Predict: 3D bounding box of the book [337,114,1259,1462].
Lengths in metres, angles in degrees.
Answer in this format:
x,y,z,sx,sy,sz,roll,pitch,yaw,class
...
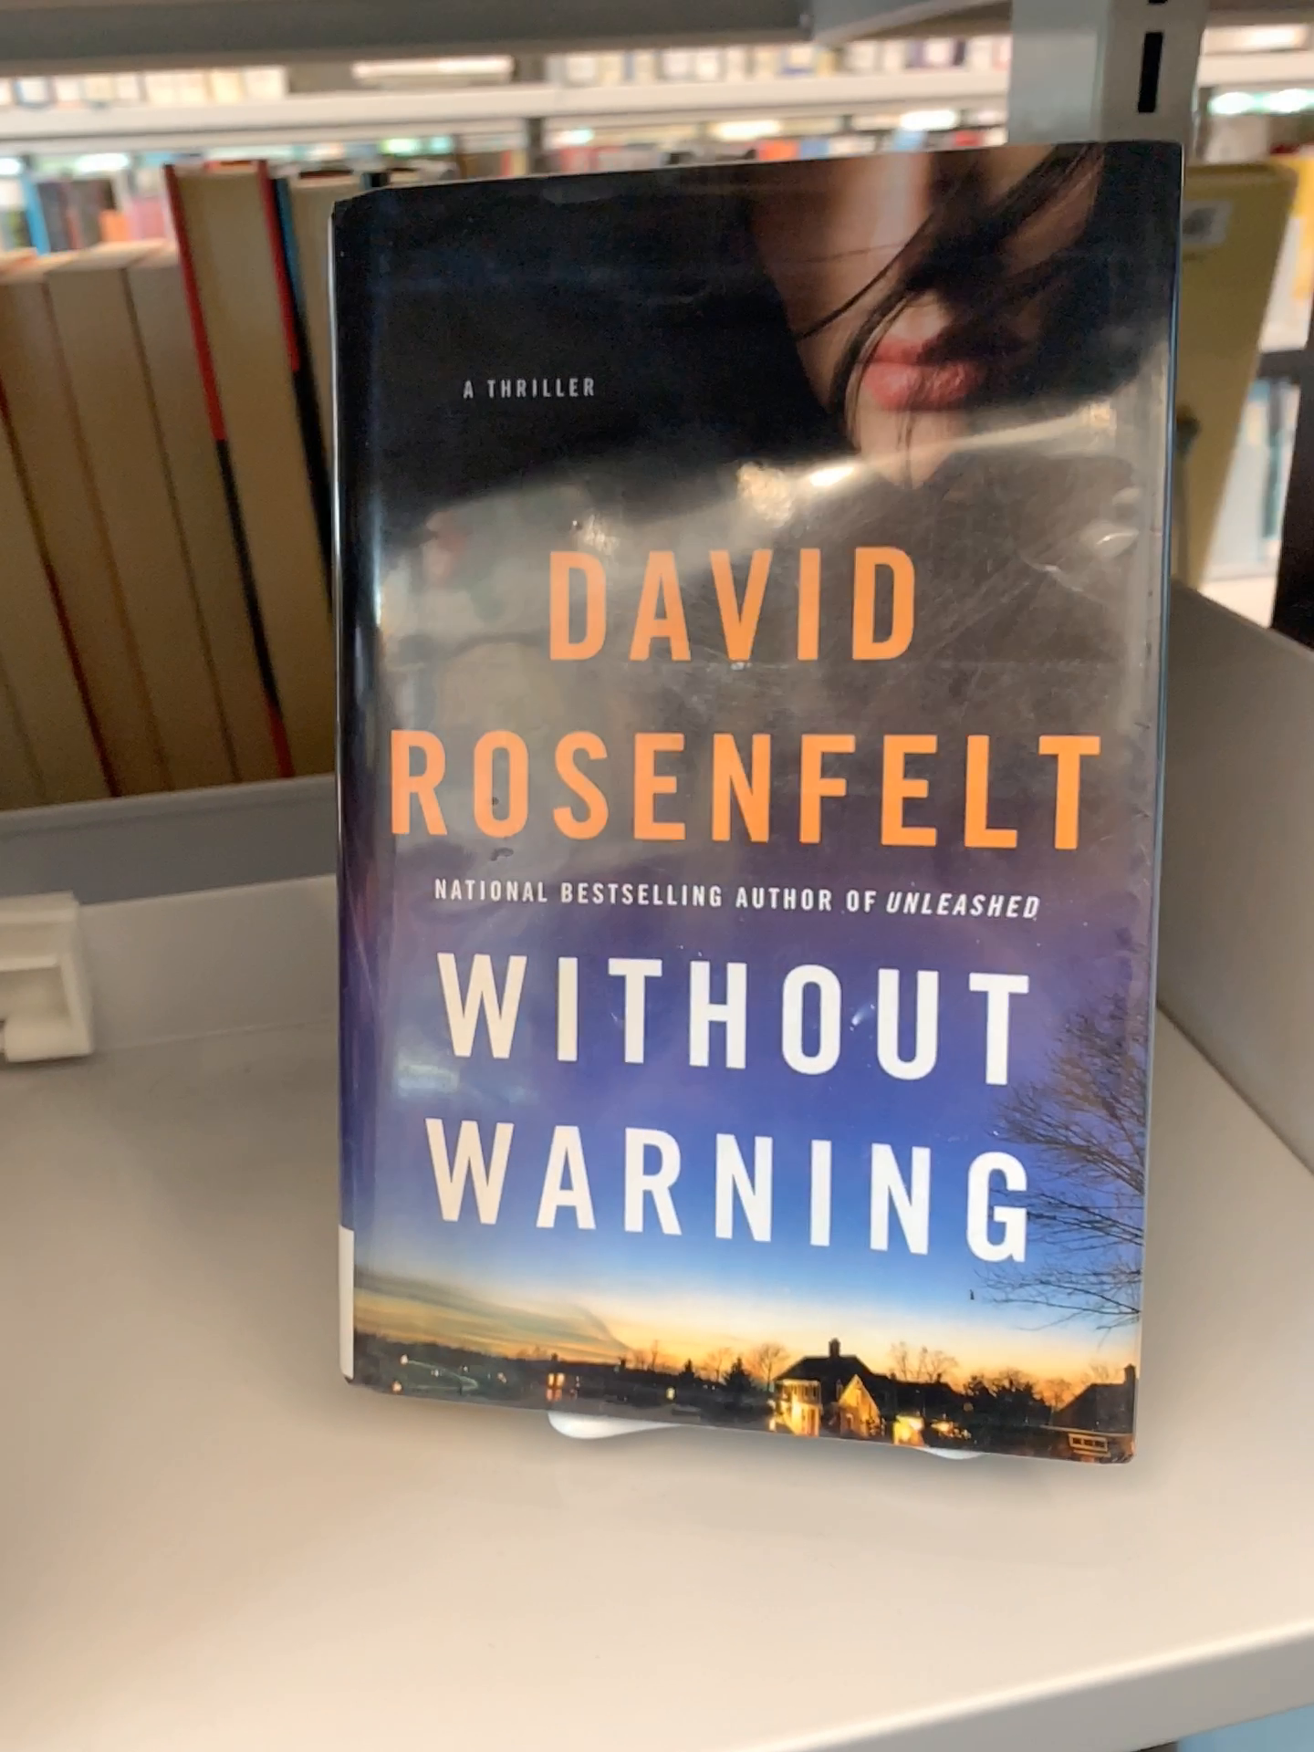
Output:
x,y,z,sx,sy,sz,roll,pitch,yaw,class
0.021,-0.014,0.265,0.157,0.230,0.035,2,7,10,book
